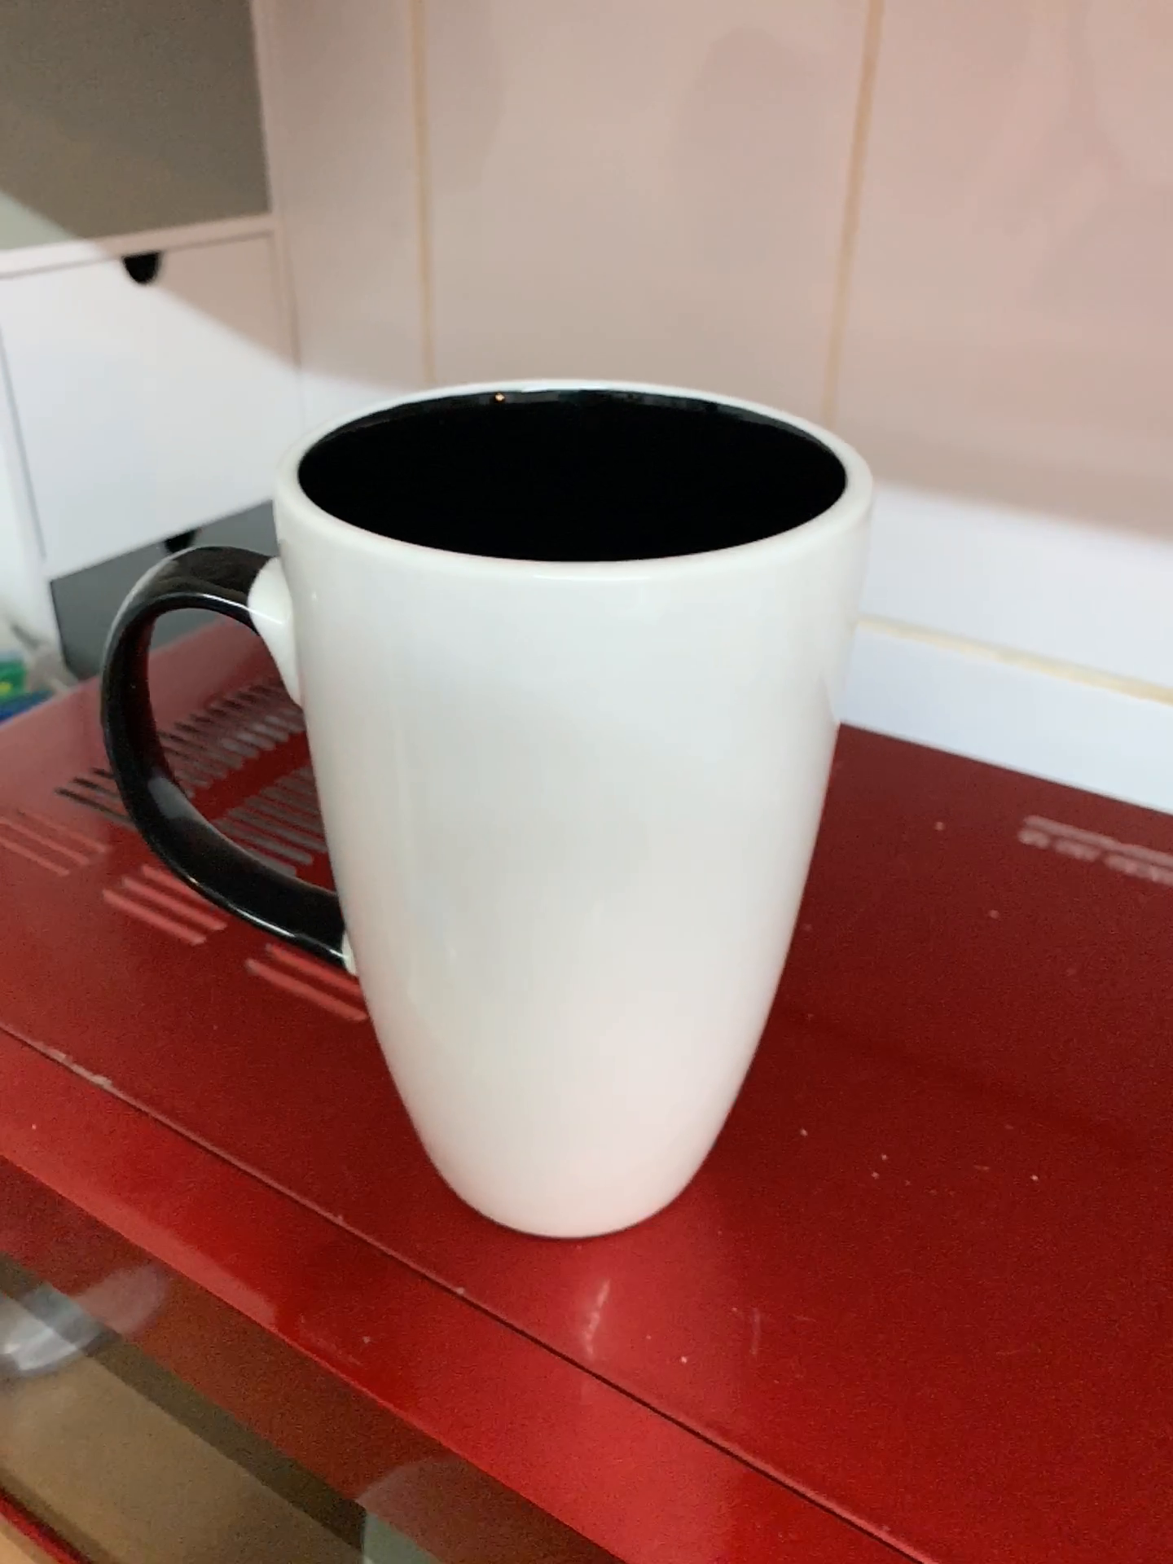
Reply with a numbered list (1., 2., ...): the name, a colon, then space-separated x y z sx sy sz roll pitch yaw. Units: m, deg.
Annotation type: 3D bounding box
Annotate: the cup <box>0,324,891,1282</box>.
1. cup: -0.021 -0.003 0.223 0.130 0.129 0.091 8 32 11
